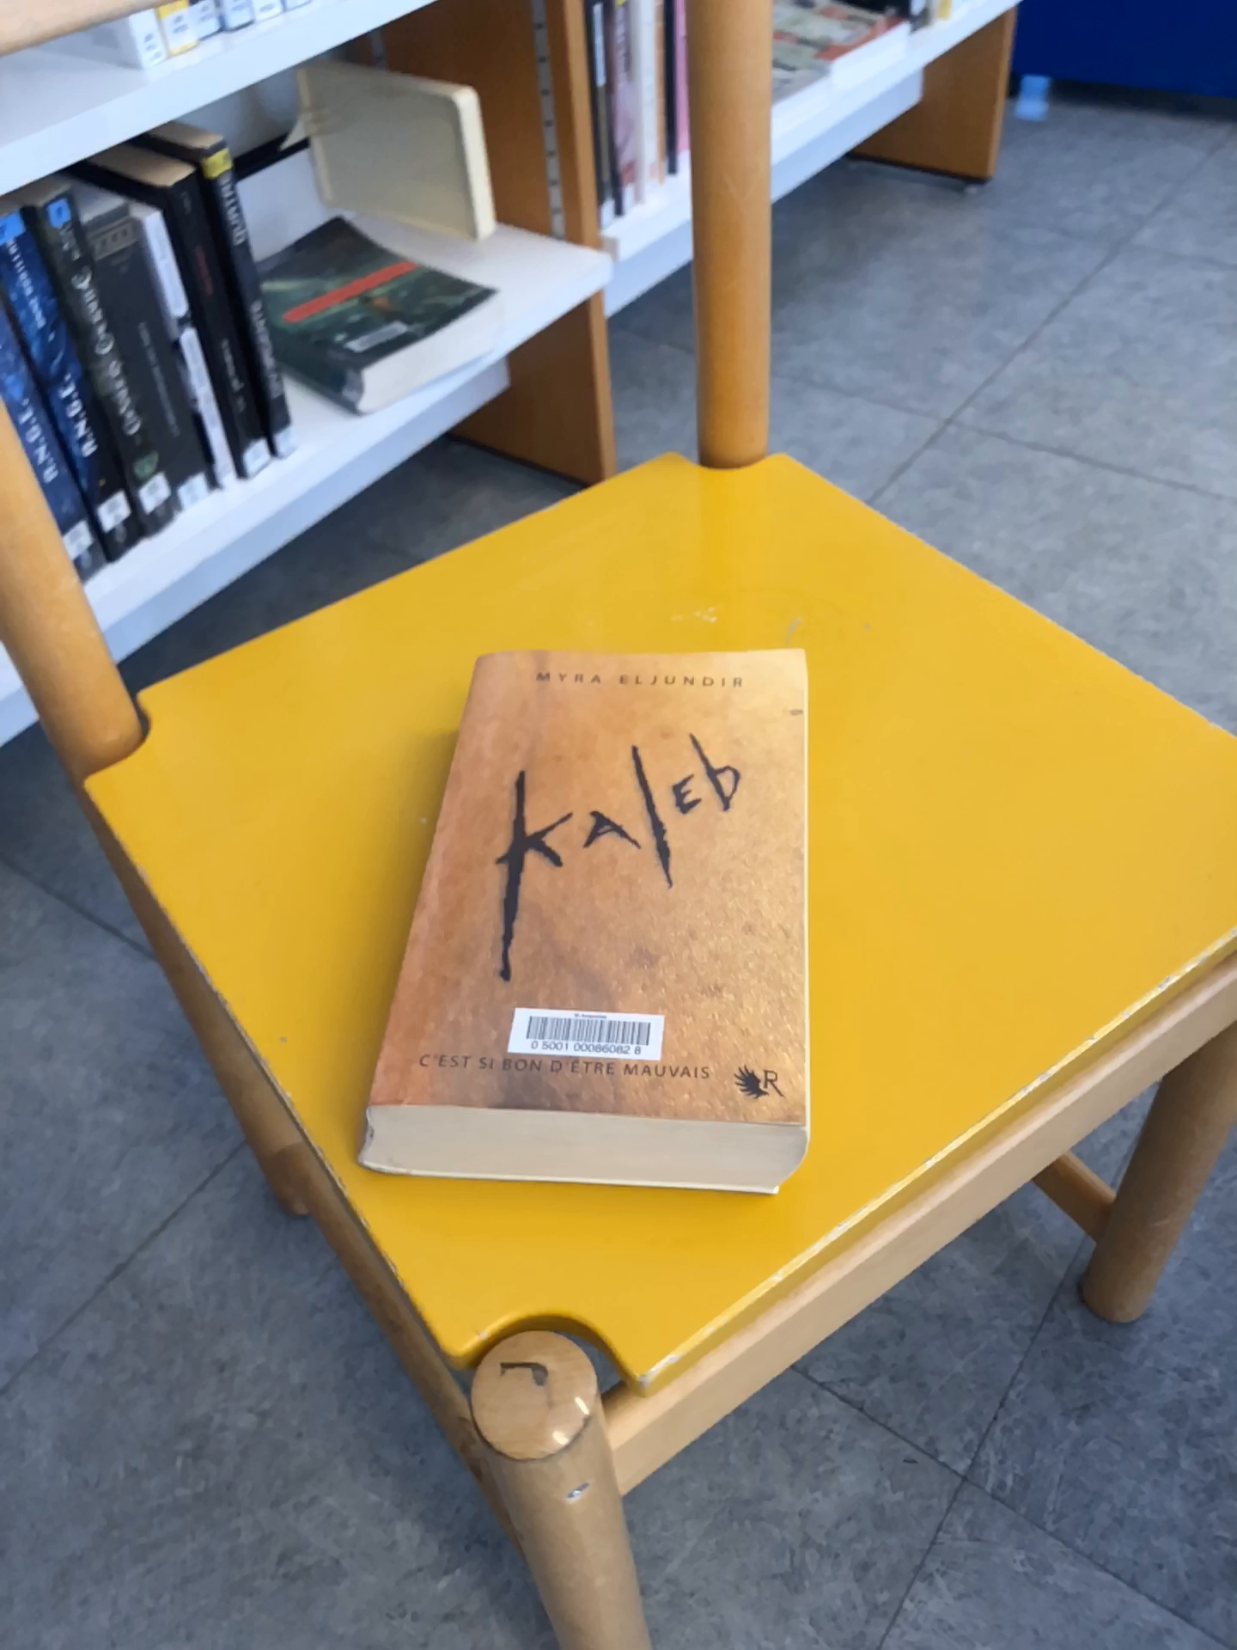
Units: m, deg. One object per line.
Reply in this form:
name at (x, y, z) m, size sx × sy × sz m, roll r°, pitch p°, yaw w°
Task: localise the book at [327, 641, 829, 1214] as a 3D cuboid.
book at (-0.001, 0.022, 0.494) m, size 0.149 × 0.043 × 0.225 m, roll 2°, pitch 46°, yaw 7°
